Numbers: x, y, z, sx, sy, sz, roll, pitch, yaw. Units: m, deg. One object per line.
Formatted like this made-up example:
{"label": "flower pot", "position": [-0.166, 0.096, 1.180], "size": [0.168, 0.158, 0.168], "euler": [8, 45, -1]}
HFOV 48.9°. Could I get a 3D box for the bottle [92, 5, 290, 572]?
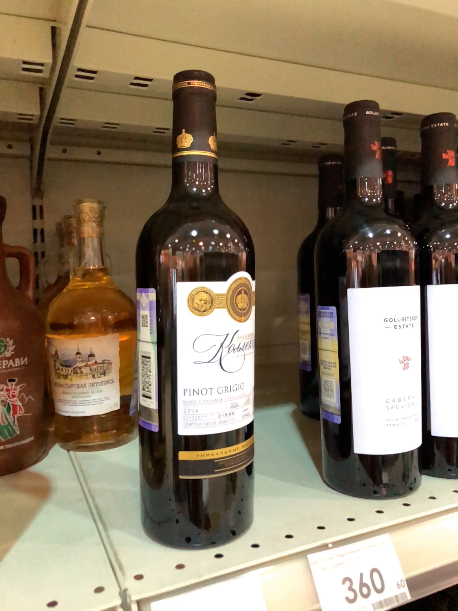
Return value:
{"label": "bottle", "position": [-0.024, -0.010, 0.348], "size": [0.090, 0.320, 0.090], "euler": [-1, 2, 0]}
